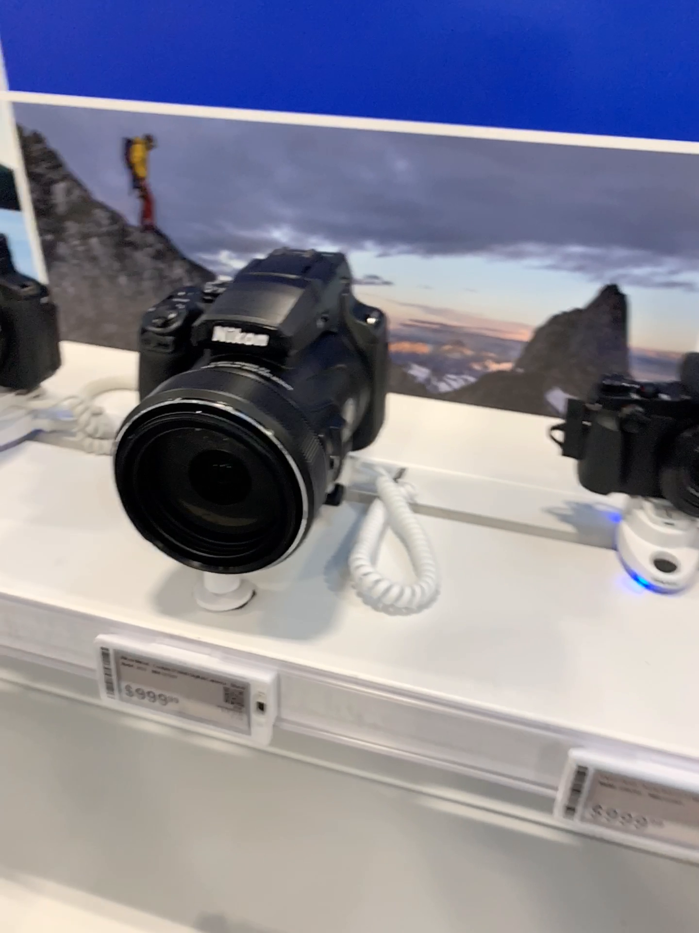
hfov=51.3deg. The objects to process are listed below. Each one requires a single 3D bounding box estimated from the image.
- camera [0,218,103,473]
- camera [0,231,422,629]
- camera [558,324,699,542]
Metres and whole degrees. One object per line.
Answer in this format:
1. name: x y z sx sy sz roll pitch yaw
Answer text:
1. camera: -0.275 -0.087 0.461 0.160 0.099 0.151 9 29 12
2. camera: -0.062 -0.043 0.388 0.160 0.109 0.221 9 29 11
3. camera: 0.187 -0.020 0.402 0.120 0.089 0.060 7 28 8
